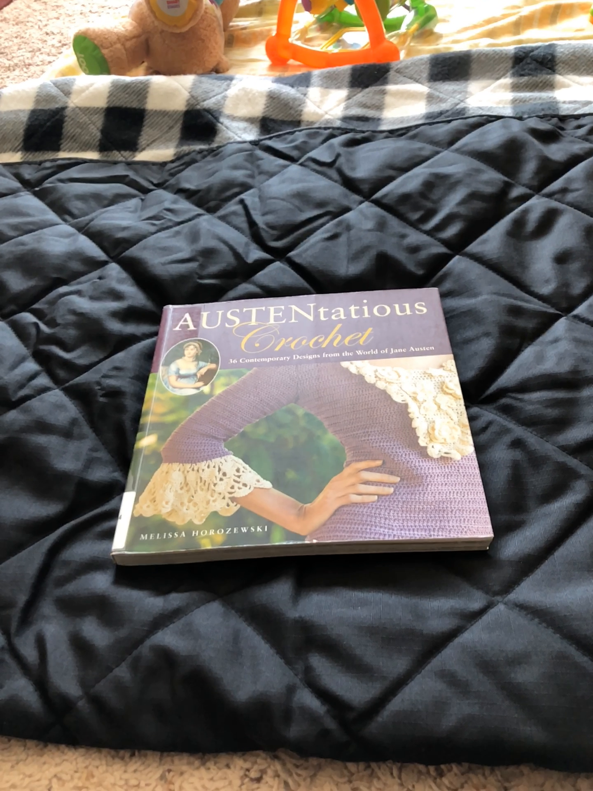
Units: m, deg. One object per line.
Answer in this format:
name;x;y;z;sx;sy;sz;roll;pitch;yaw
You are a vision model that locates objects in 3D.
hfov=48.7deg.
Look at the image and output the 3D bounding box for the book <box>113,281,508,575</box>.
book;0.007;0.008;0.451;0.220;0.020;0.230;-4;46;5
